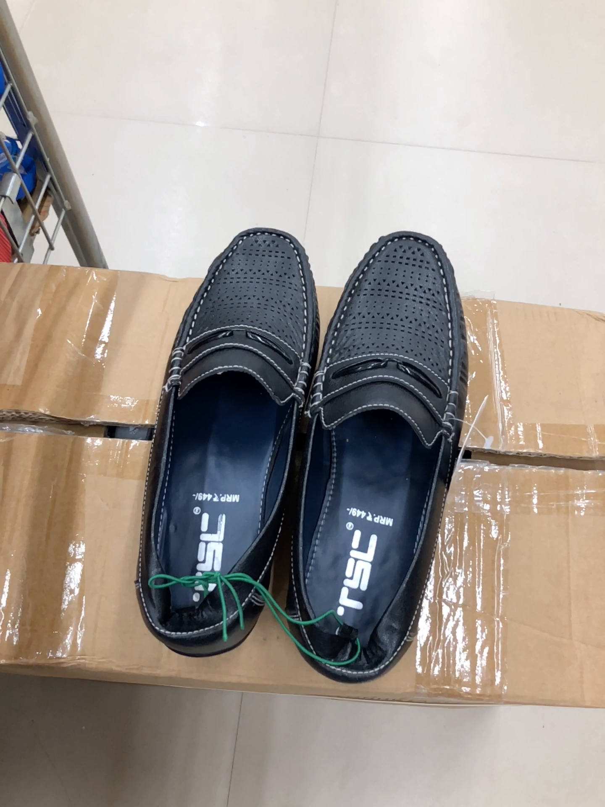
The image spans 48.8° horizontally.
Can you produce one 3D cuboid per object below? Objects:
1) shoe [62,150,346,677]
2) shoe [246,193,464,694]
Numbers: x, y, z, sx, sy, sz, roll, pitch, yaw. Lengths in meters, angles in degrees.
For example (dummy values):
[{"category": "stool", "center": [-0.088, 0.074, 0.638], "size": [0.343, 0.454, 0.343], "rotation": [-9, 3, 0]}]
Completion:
[{"category": "shoe", "center": [-0.043, -0.004, 0.418], "size": [0.100, 0.090, 0.311], "rotation": [8, 65, 2]}, {"category": "shoe", "center": [0.041, 0.016, 0.442], "size": [0.100, 0.090, 0.311], "rotation": [8, 65, 2]}]
